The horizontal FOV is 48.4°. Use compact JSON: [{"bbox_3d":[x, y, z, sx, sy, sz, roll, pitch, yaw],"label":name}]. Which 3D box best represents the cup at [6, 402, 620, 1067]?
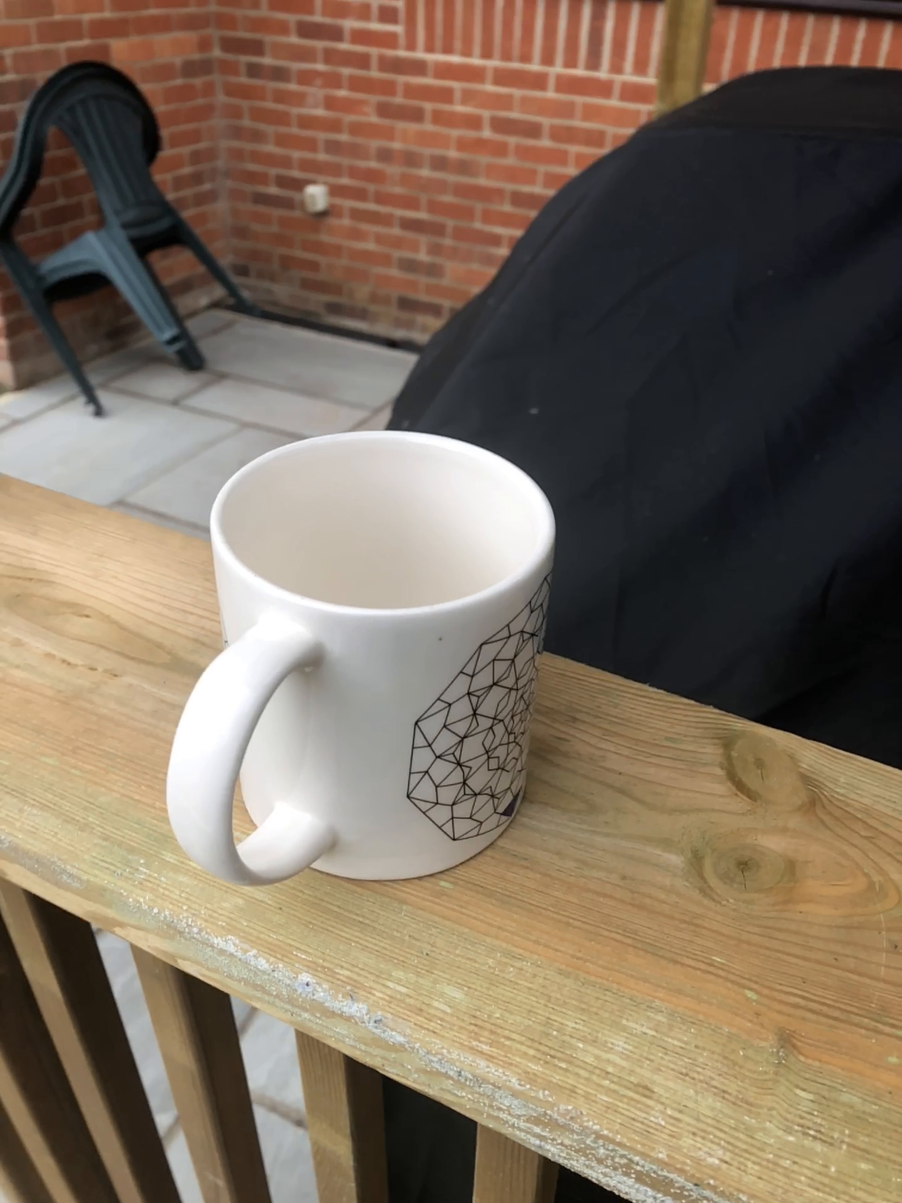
[{"bbox_3d":[-0.023,0.021,0.261,0.090,0.089,0.131,16,35,18],"label":"cup"}]
